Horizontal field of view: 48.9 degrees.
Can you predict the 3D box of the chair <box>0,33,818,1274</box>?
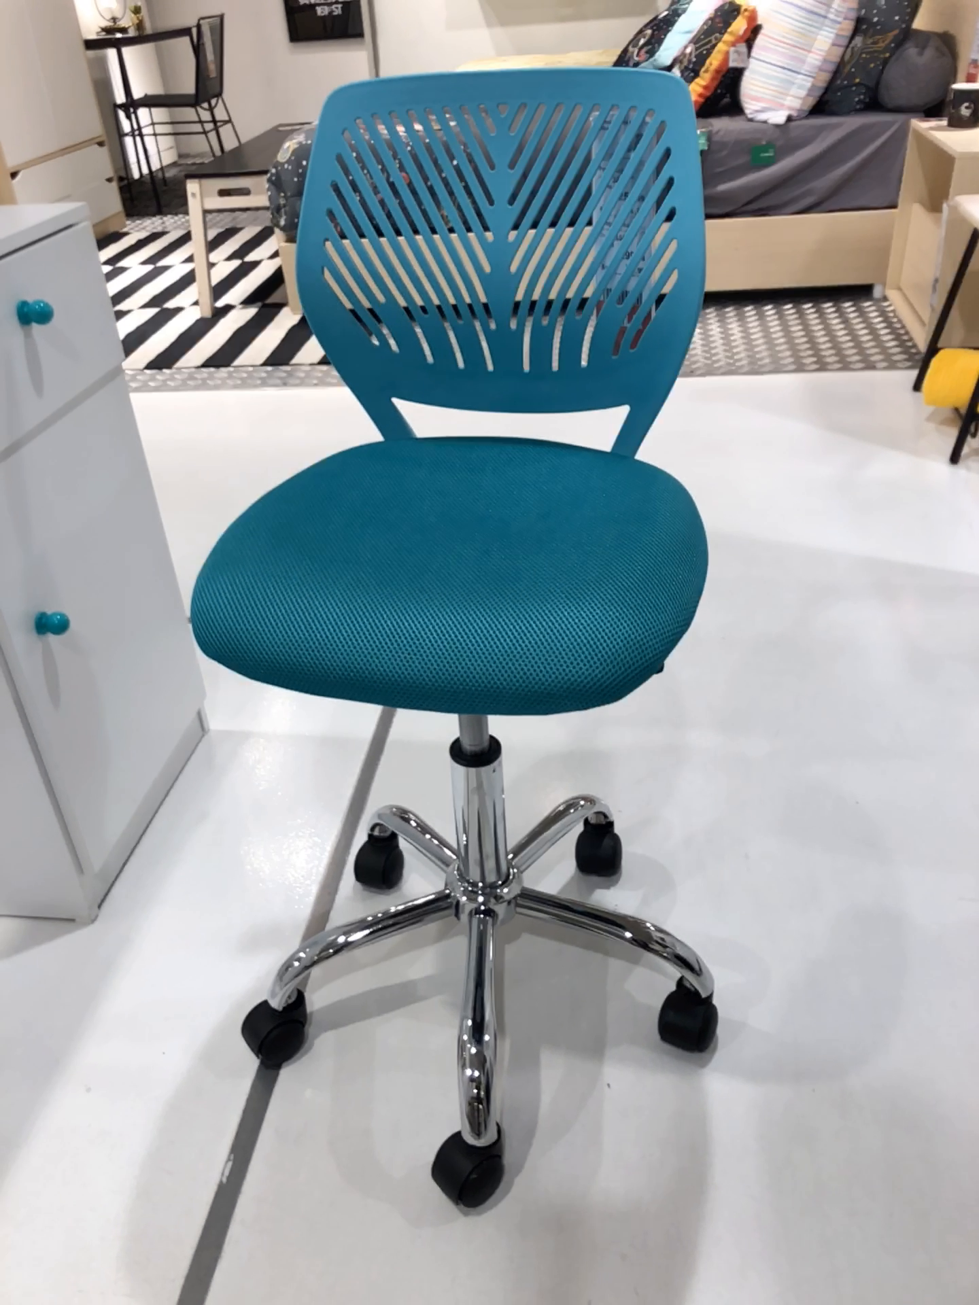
[{"bbox_3d":[-0.014,-0.021,0.898,0.480,0.804,0.534,5,33,15],"label":"chair"}]
